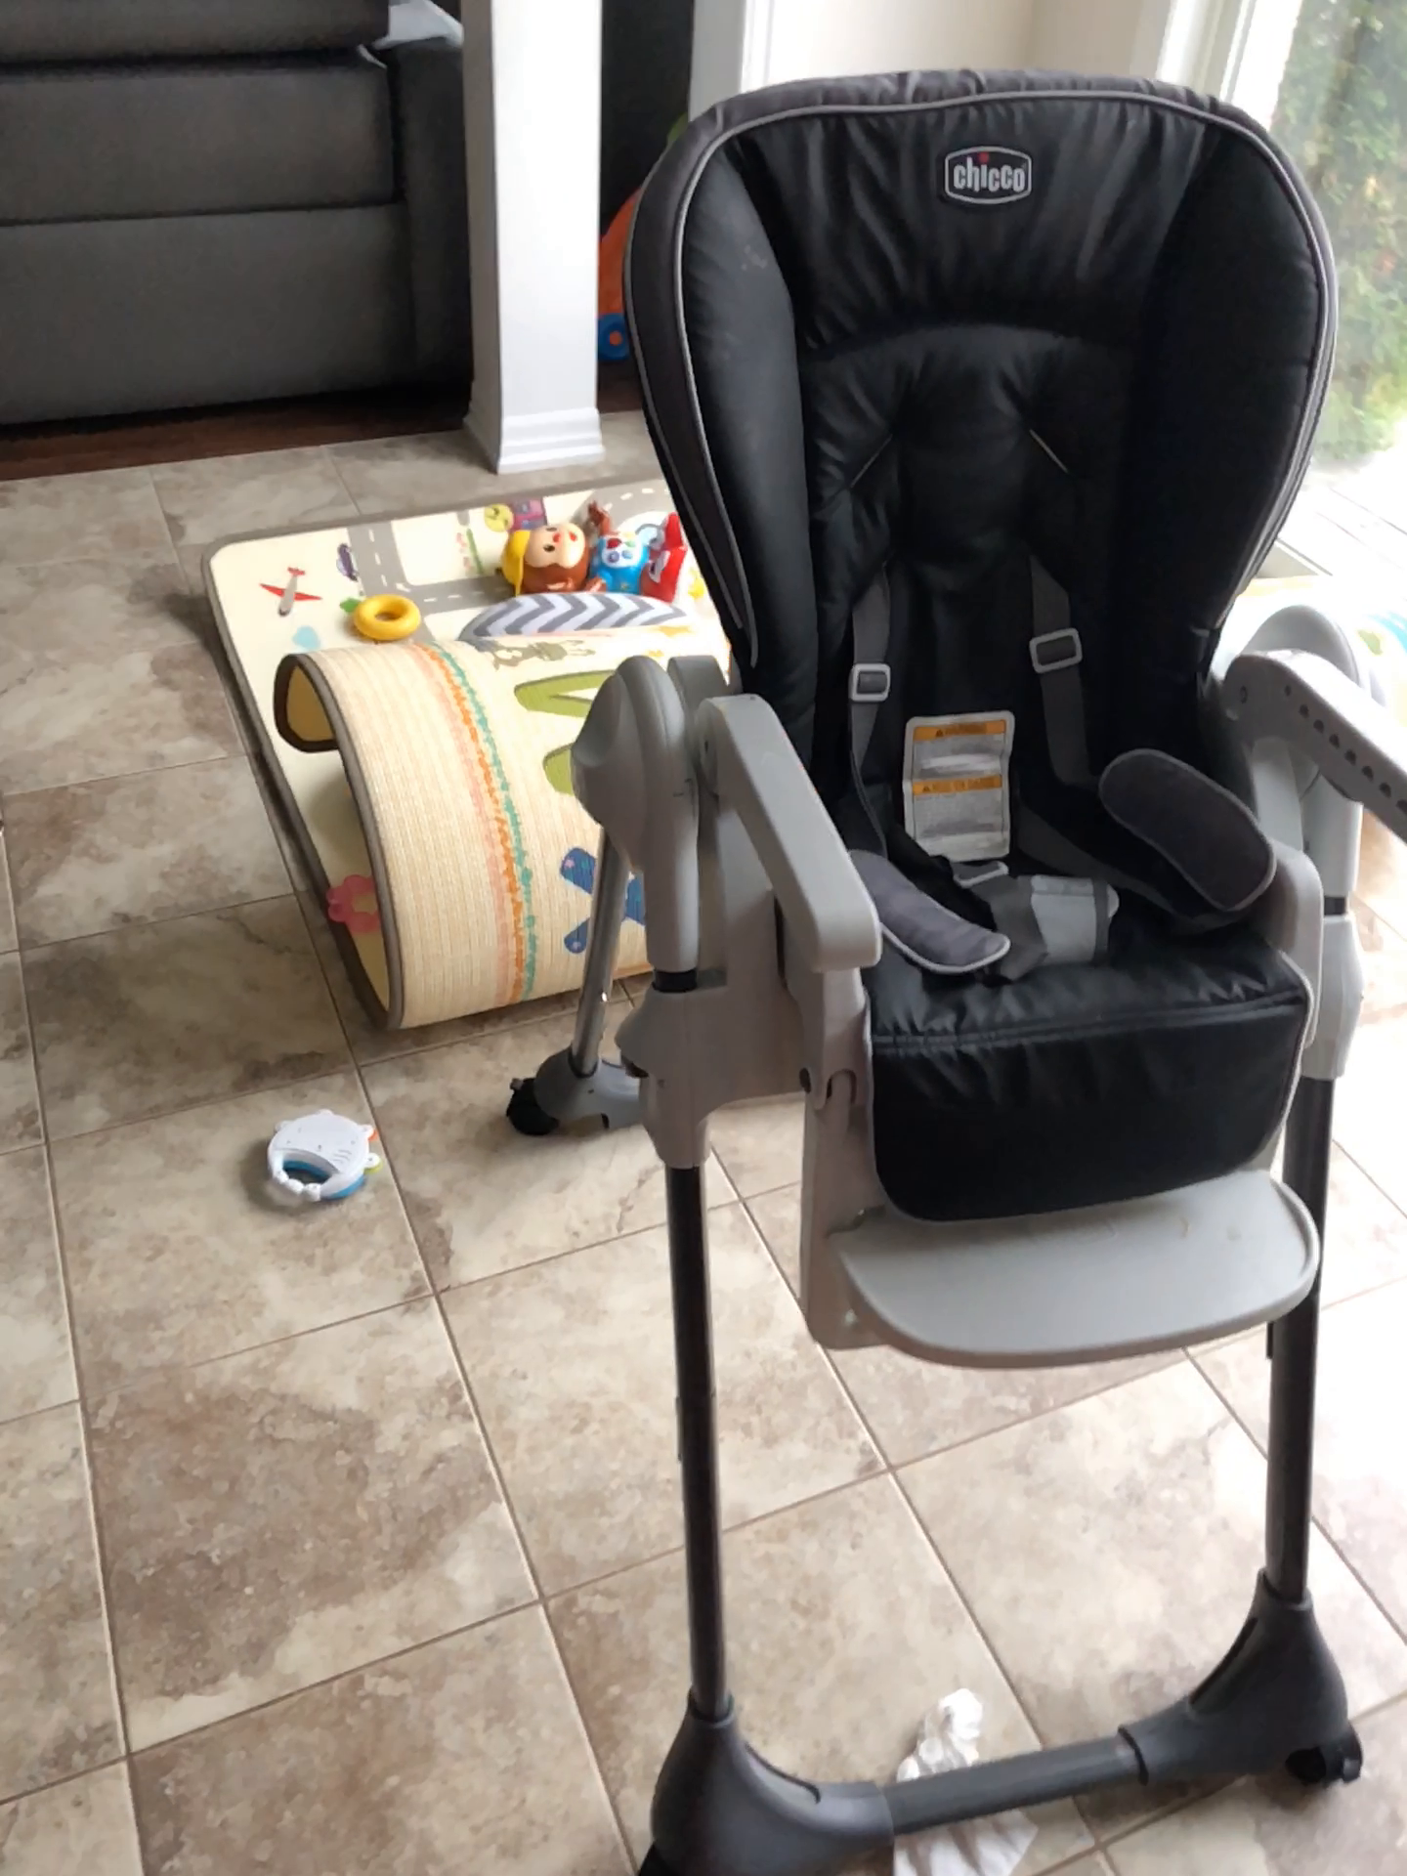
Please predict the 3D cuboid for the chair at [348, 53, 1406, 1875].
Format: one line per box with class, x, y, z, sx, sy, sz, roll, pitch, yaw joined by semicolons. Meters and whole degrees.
chair;0.147;0.028;1.112;0.650;0.996;0.884;-6;41;-12
